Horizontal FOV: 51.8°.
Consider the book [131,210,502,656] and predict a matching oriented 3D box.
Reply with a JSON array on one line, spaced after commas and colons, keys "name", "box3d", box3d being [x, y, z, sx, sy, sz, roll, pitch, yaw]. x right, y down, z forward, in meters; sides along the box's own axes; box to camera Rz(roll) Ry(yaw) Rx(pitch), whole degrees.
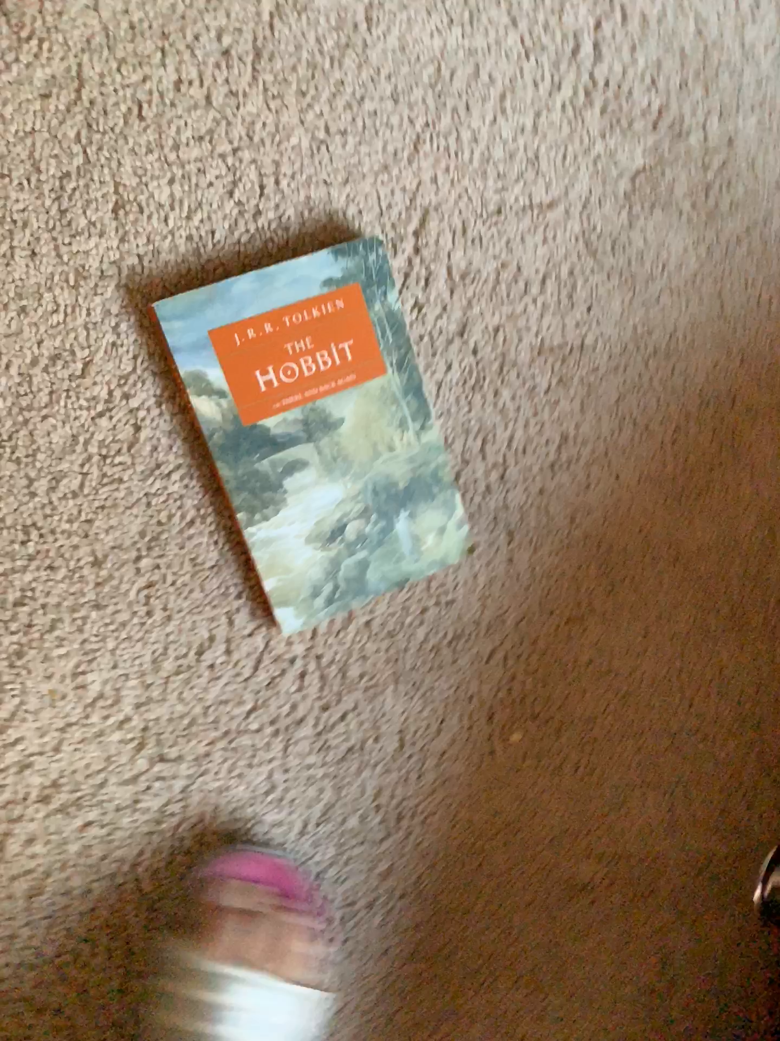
[{"name": "book", "box3d": [-0.038, -0.052, 0.484, 0.150, 0.030, 0.220, -24, 102, -16]}]
